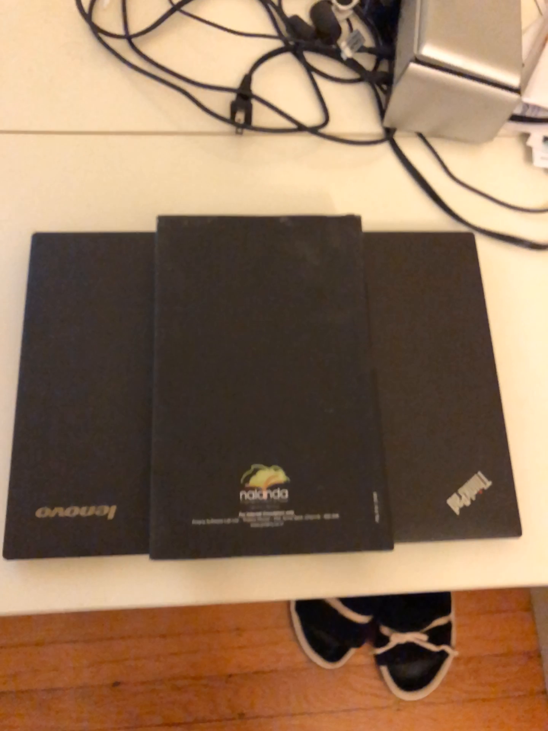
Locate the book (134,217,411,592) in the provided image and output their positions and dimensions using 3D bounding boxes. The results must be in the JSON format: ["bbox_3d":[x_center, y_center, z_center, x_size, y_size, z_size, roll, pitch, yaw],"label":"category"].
[{"bbox_3d":[-0.006,0.016,0.388,0.150,0.040,0.231,-1,70,-4],"label":"book"}]
